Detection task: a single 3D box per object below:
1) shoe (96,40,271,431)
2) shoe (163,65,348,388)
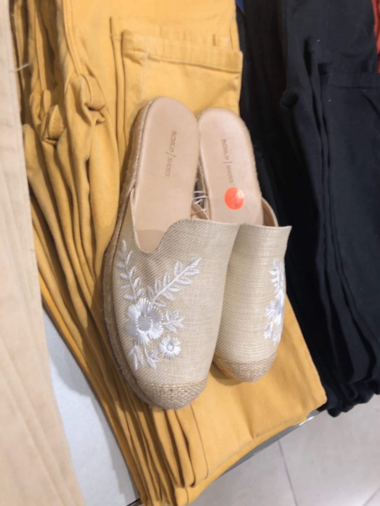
[{"bbox_3d":[-0.009,-0.011,0.301,0.090,0.070,0.240,7,74,-32],"label":"shoe"},{"bbox_3d":[0.051,-0.021,0.357,0.091,0.070,0.240,-4,81,-34],"label":"shoe"}]
